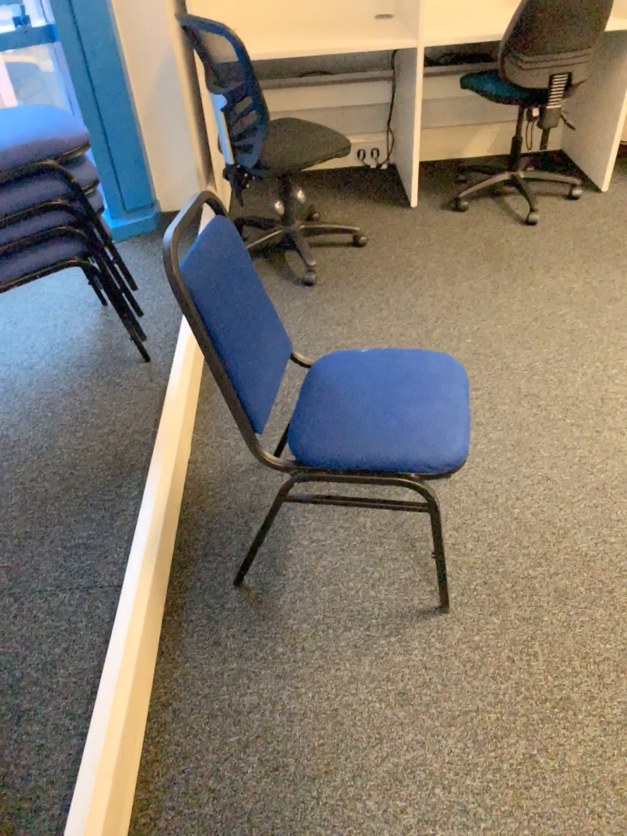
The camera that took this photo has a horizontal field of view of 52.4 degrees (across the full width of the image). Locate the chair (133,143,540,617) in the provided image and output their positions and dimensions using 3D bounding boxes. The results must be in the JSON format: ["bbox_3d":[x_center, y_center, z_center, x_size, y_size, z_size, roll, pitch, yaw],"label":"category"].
[{"bbox_3d":[0.082,-0.057,1.340,0.574,0.843,0.477,3,41,9],"label":"chair"}]
